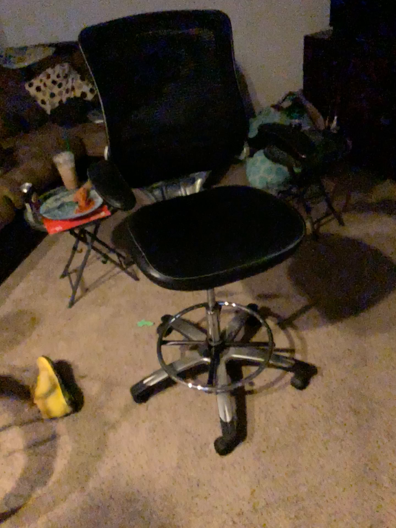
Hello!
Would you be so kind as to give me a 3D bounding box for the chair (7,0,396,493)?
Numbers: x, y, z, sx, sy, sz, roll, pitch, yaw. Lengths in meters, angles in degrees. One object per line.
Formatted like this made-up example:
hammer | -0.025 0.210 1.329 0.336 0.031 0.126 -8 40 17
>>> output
chair | -0.018 -0.125 1.457 0.760 1.170 0.930 -17 37 -14
